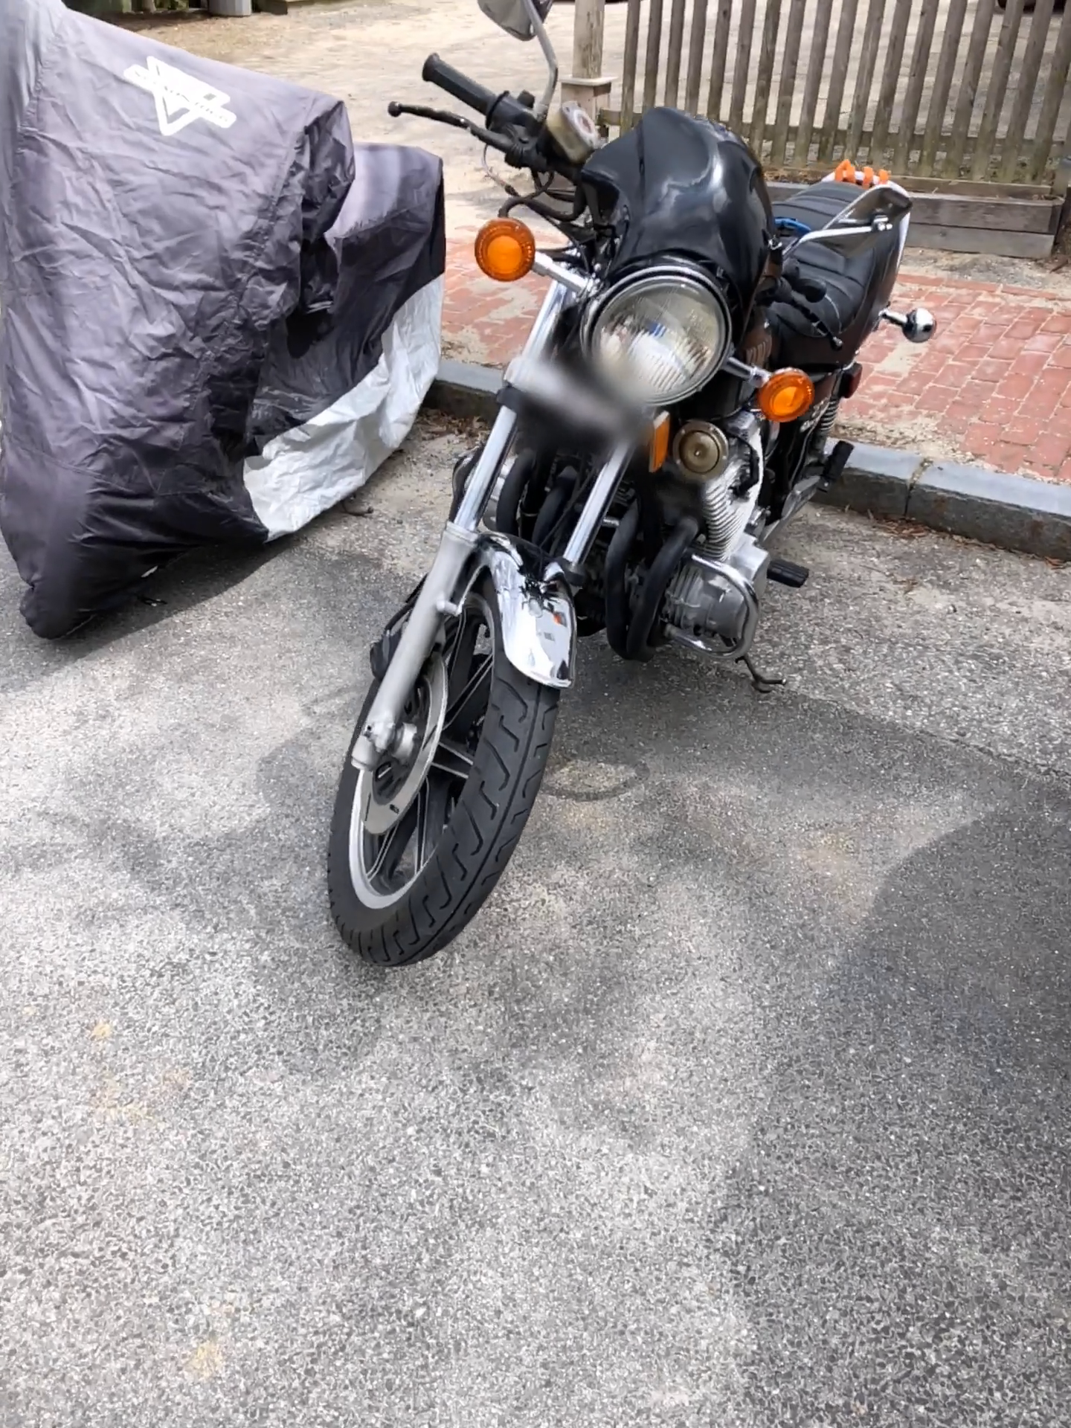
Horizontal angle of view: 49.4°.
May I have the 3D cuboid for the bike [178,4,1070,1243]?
[{"bbox_3d":[0.356,-0.432,2.043,0.709,1.157,1.980,16,40,19],"label":"bike"}]
